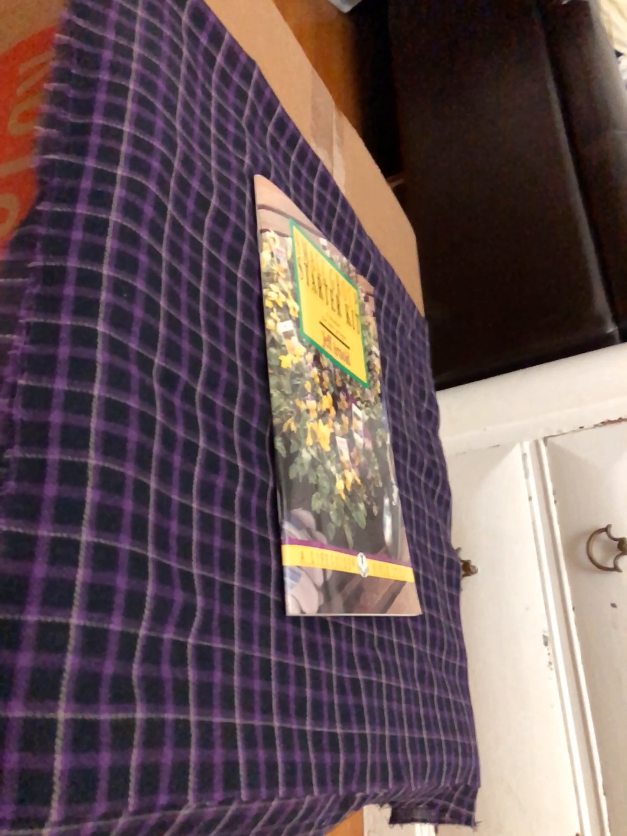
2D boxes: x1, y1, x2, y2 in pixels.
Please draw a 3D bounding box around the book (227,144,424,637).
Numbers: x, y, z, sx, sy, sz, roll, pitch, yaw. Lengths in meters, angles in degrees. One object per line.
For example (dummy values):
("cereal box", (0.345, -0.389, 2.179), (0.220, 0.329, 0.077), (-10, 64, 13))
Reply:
("book", (0.010, -0.005, 0.353), (0.151, 0.010, 0.220), (27, 52, -57))
